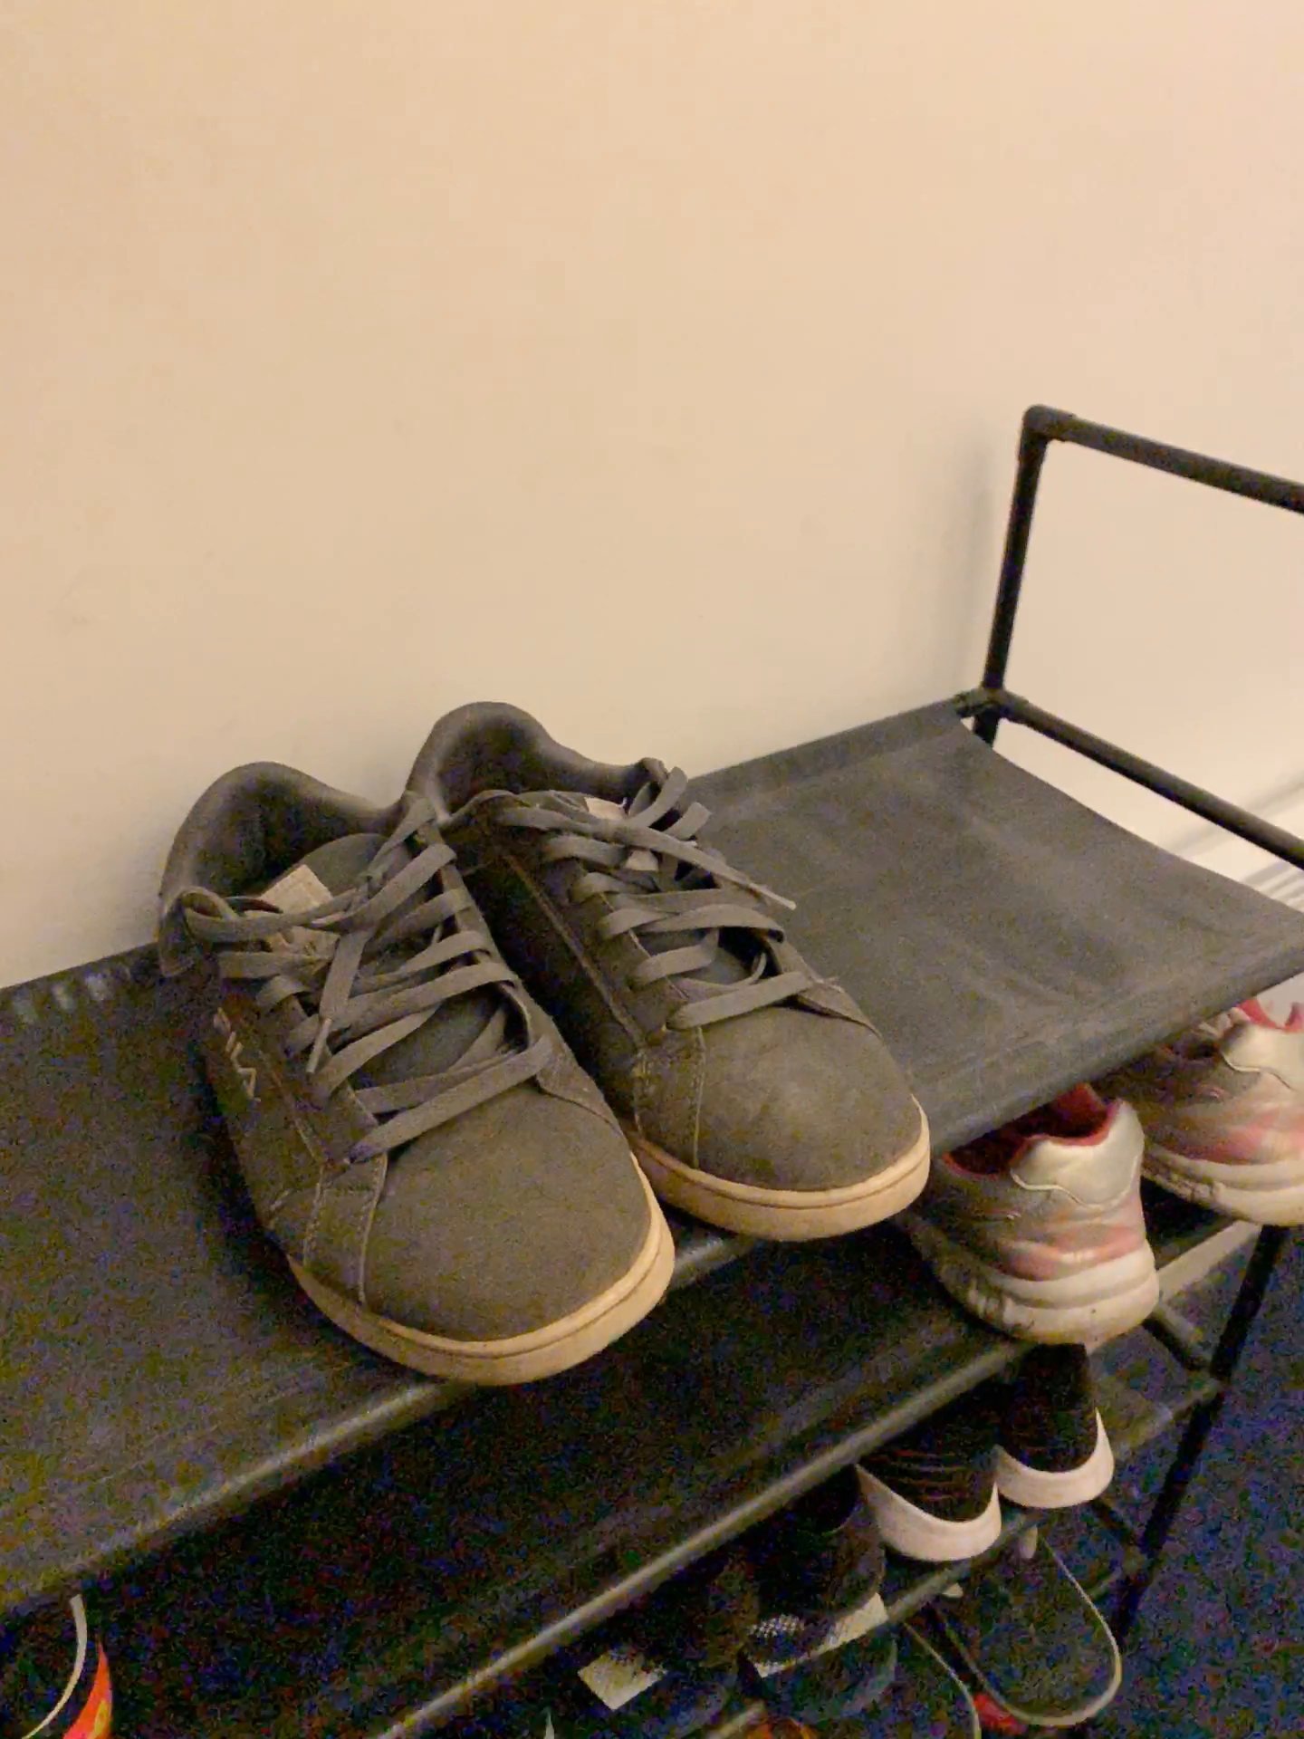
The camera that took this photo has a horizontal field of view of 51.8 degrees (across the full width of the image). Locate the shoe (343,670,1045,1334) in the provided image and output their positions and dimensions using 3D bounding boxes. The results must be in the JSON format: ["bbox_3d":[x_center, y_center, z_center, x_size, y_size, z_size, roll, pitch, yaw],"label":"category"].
[{"bbox_3d":[-0.005,0.024,0.528,0.120,0.079,0.302,-20,37,-25],"label":"shoe"}]

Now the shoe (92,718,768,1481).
[{"bbox_3d":[-0.089,0.049,0.458,0.120,0.079,0.272,-20,37,-25],"label":"shoe"}]
